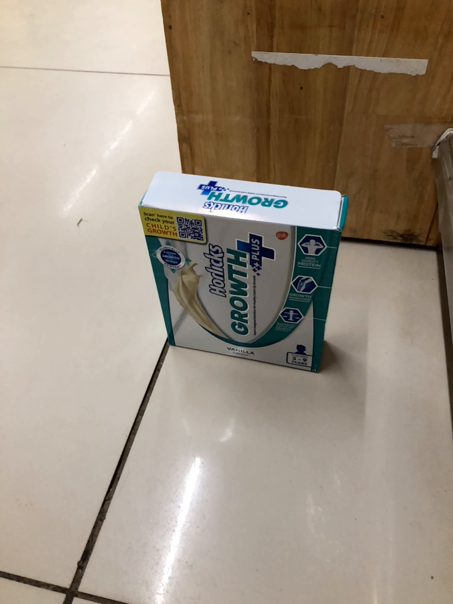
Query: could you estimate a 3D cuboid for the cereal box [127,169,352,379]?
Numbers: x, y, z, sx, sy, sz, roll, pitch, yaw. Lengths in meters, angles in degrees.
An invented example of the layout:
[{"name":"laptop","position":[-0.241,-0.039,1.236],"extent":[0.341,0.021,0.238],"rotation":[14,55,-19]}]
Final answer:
[{"name":"cereal box","position":[0.013,-0.018,0.408],"extent":[0.150,0.159,0.050],"rotation":[9,48,12]}]
